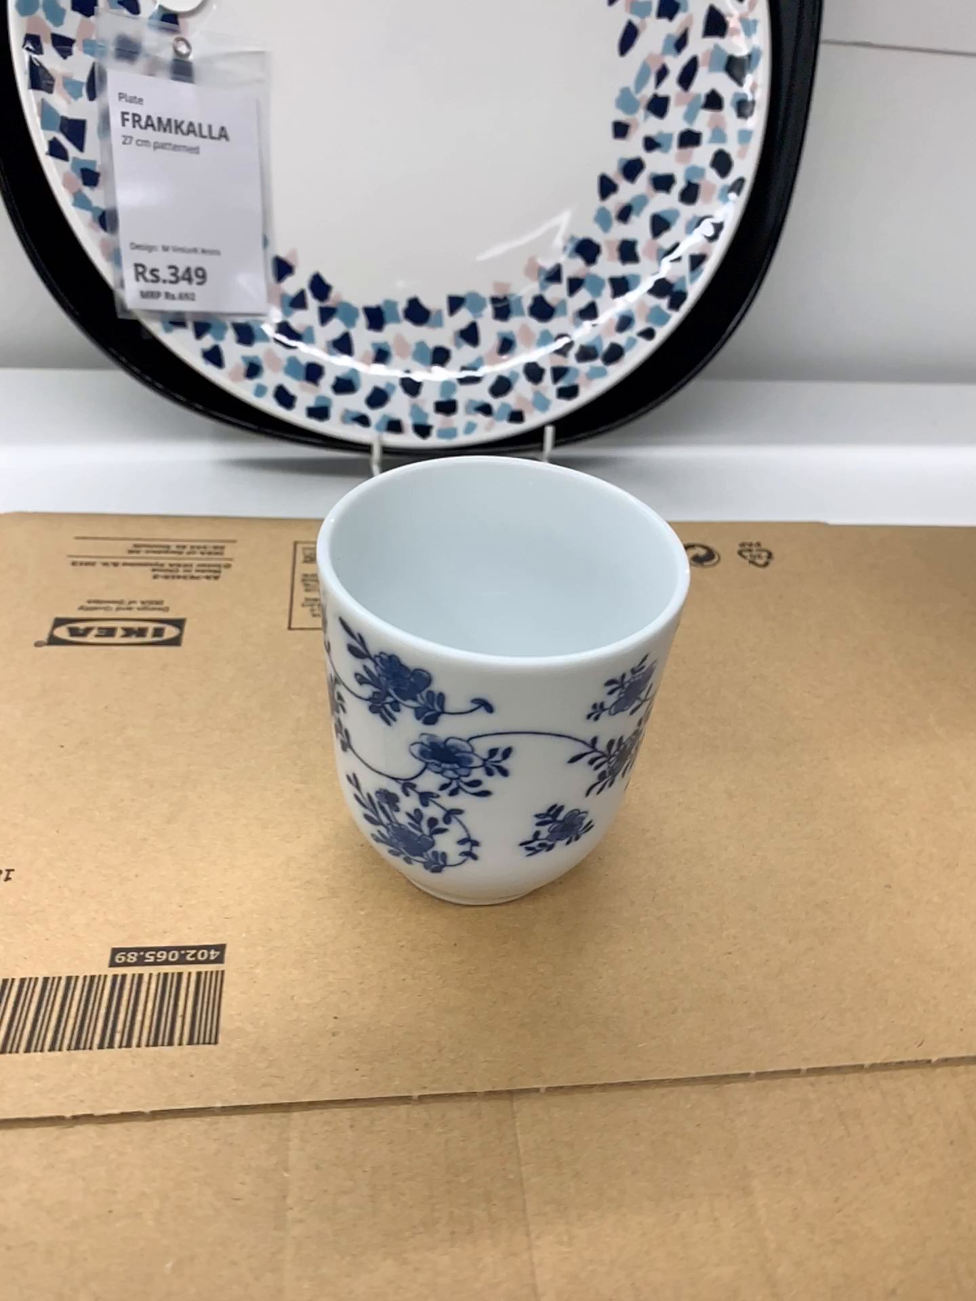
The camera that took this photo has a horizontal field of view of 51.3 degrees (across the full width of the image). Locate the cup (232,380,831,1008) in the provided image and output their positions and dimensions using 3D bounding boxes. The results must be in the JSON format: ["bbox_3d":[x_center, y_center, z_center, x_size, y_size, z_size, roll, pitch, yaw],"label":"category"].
[{"bbox_3d":[0.004,0.002,0.214,0.080,0.080,0.080,4,36,-3],"label":"cup"}]
